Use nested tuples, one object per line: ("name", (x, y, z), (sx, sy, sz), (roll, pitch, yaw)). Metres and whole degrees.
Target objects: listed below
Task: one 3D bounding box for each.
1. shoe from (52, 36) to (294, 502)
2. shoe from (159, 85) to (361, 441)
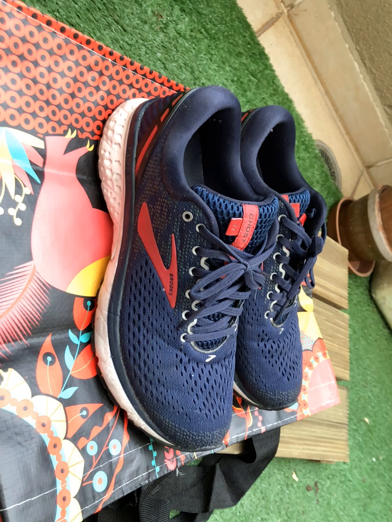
("shoe", (-0.020, 0.004, 0.317), (0.108, 0.099, 0.265), (-1, 82, -45))
("shoe", (0.055, 0.003, 0.390), (0.101, 0.099, 0.265), (-4, 83, -45))
